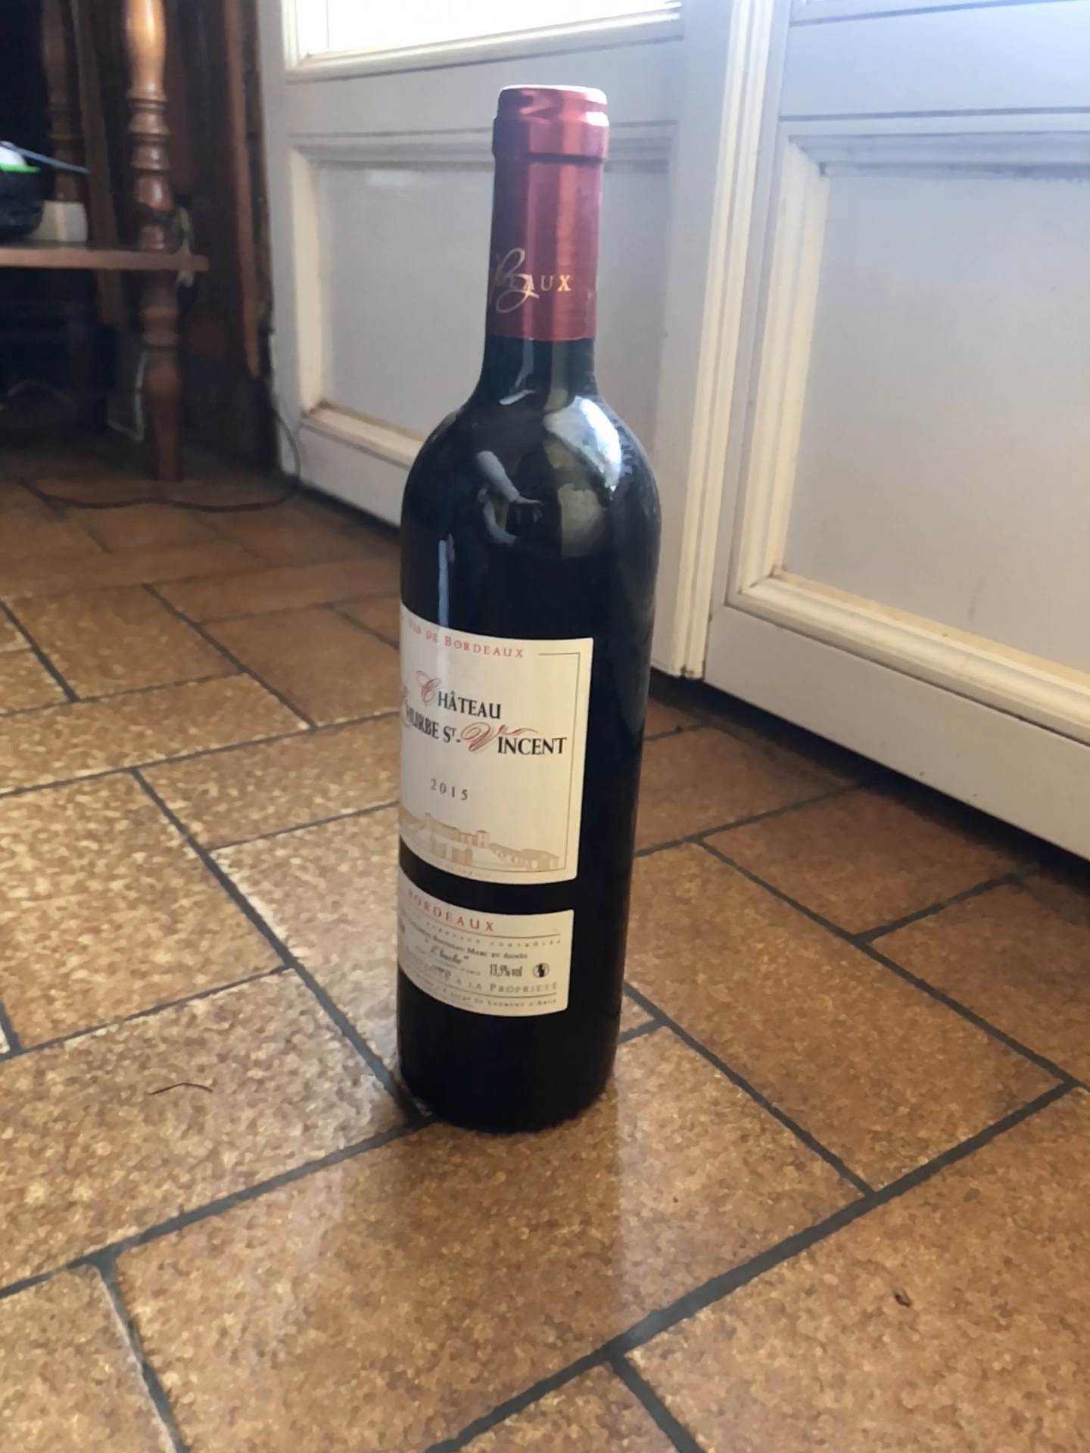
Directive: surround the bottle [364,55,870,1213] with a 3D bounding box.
[{"bbox_3d":[0.014,-0.020,0.342,0.090,0.288,0.091,2,23,-1],"label":"bottle"}]
